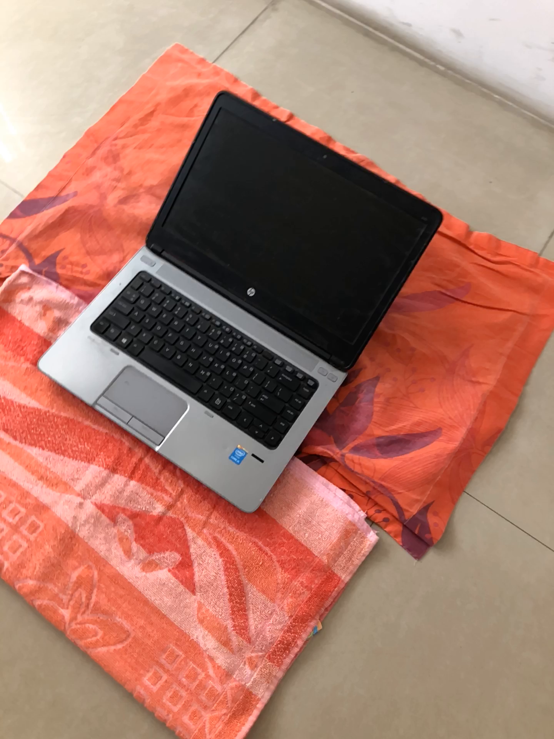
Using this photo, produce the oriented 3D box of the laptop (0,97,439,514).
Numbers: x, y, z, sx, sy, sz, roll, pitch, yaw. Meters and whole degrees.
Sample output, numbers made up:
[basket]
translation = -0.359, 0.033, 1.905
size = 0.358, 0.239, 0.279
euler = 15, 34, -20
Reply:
[laptop]
translation = -0.052, -0.093, 0.756
size = 0.328, 0.111, 0.411
euler = 32, 70, 9
